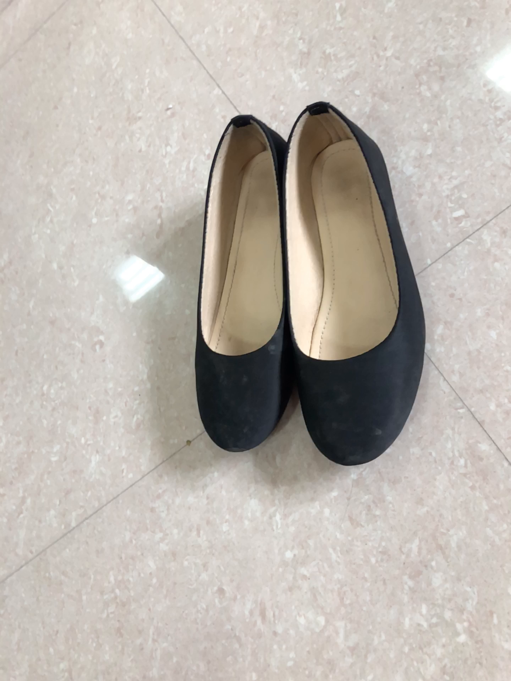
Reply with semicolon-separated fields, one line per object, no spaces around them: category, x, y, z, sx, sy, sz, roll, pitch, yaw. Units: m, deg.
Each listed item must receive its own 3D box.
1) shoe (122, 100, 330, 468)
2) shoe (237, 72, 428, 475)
shoe;-0.014;-0.037;0.410;0.092;0.075;0.239;0;74;29
shoe;0.052;-0.037;0.372;0.092;0.075;0.239;-7;71;27
